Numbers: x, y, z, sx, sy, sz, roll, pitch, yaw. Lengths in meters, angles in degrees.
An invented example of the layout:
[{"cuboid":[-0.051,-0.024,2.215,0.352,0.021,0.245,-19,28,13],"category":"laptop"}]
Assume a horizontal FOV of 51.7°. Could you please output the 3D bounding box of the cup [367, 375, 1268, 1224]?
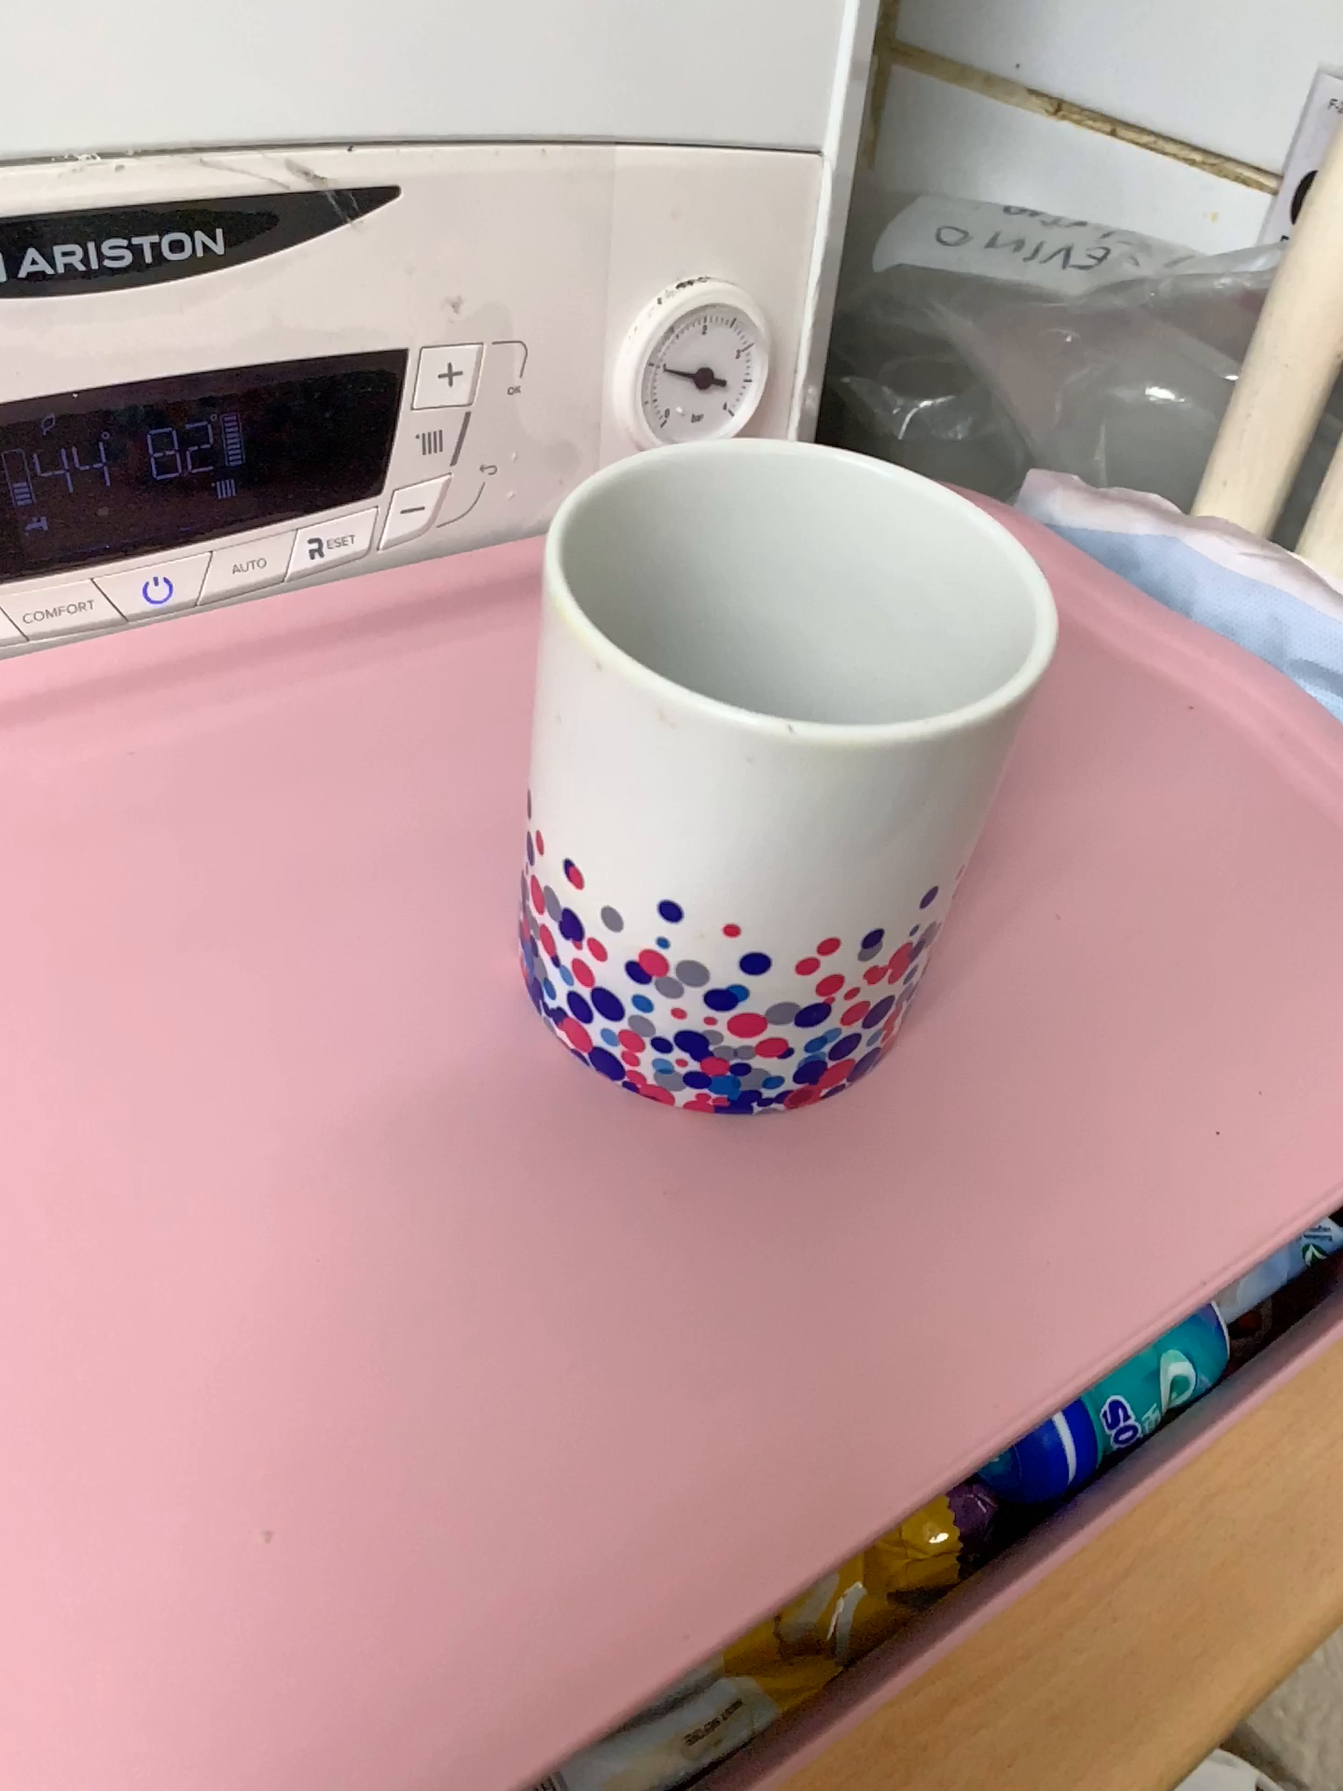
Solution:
[{"cuboid":[0.022,-0.024,0.247,0.120,0.089,0.080,-24,49,-30],"category":"cup"}]
